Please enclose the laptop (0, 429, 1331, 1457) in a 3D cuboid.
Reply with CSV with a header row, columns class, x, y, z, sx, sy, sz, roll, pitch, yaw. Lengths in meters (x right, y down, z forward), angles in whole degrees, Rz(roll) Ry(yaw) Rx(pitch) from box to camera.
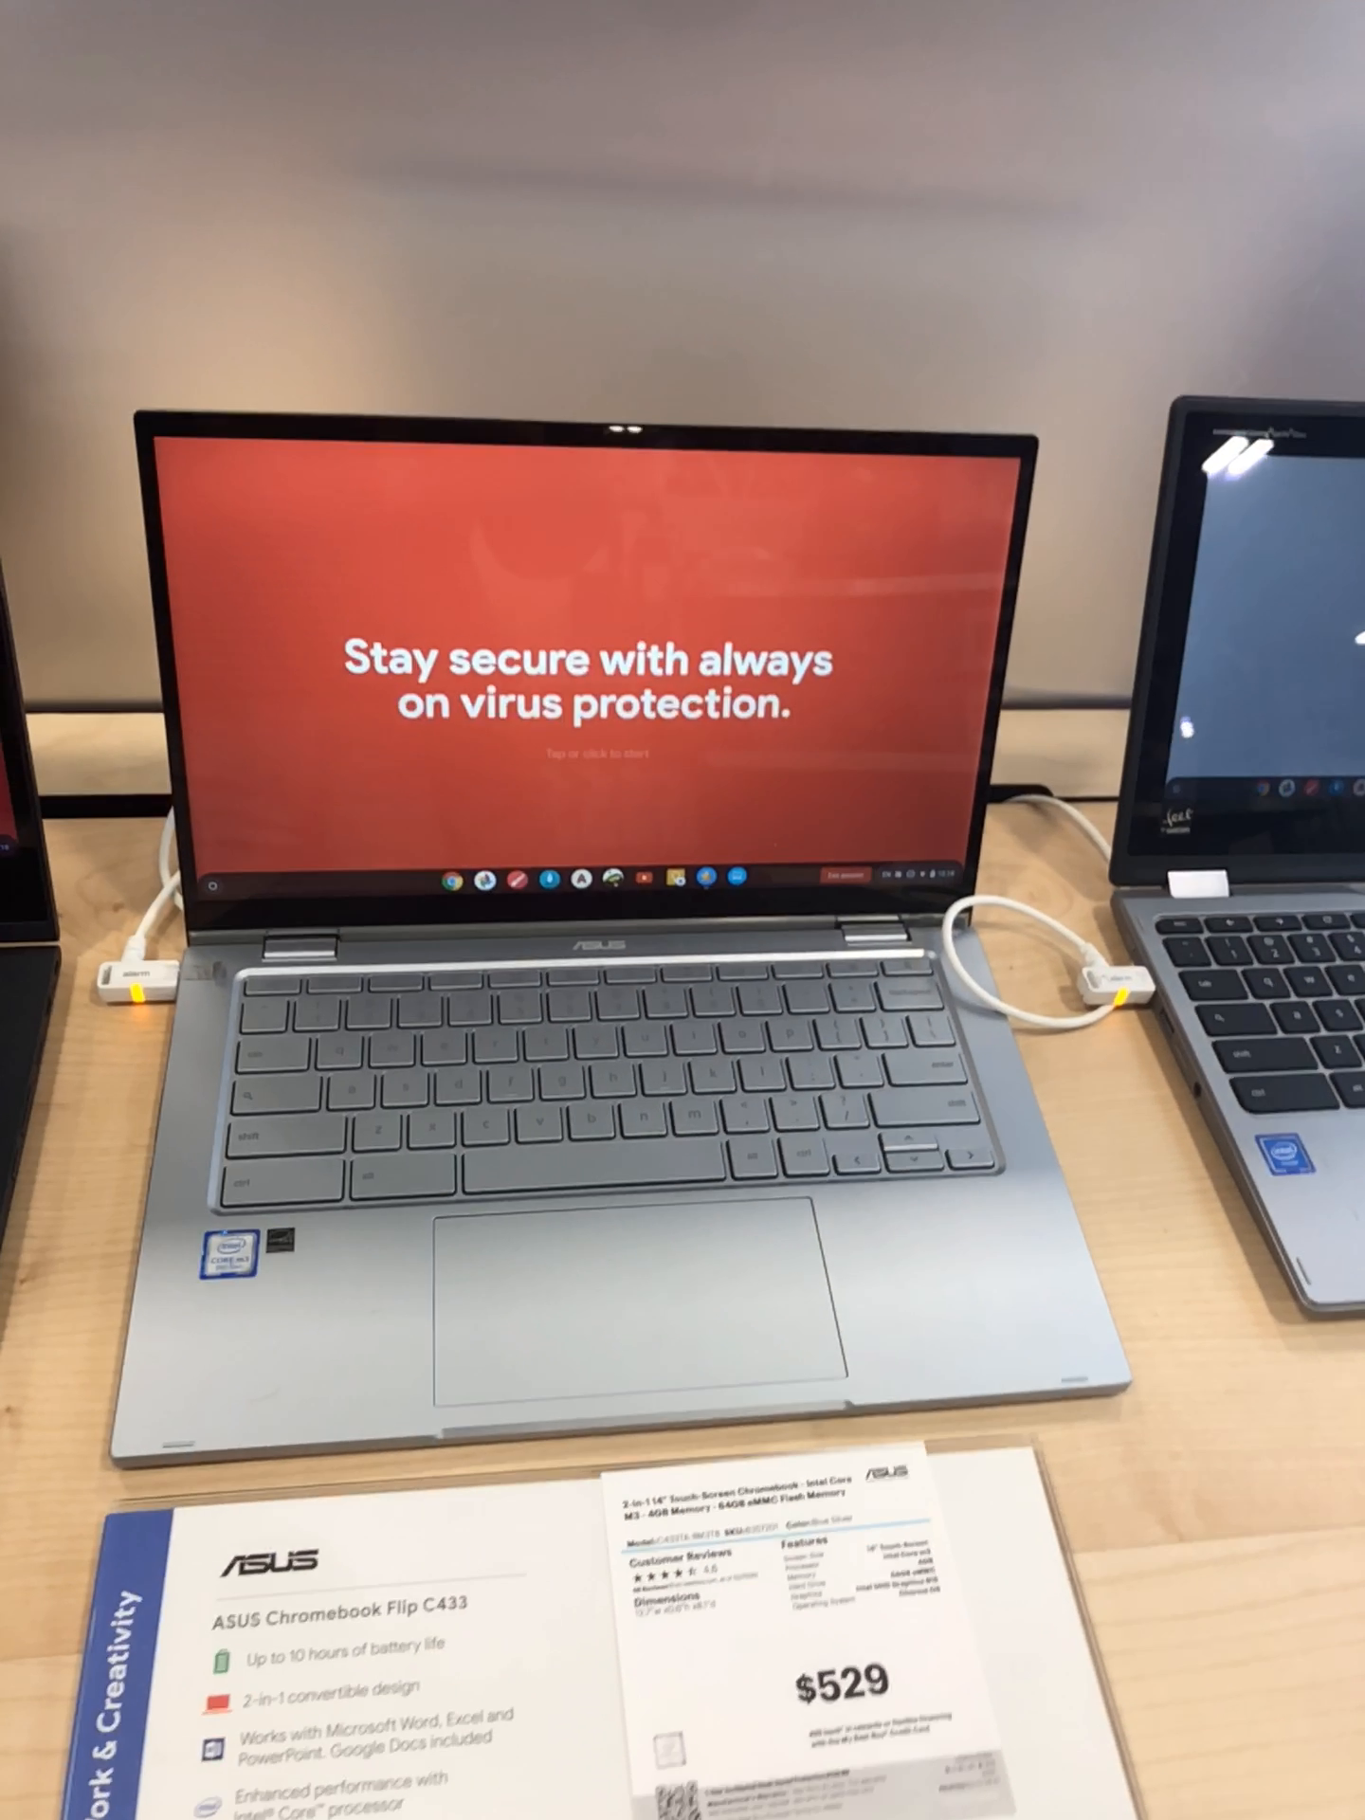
class,x,y,z,sx,sy,sz,roll,pitch,yaw
laptop,-0.019,-0.011,0.499,0.310,0.174,0.283,-2,45,-9
